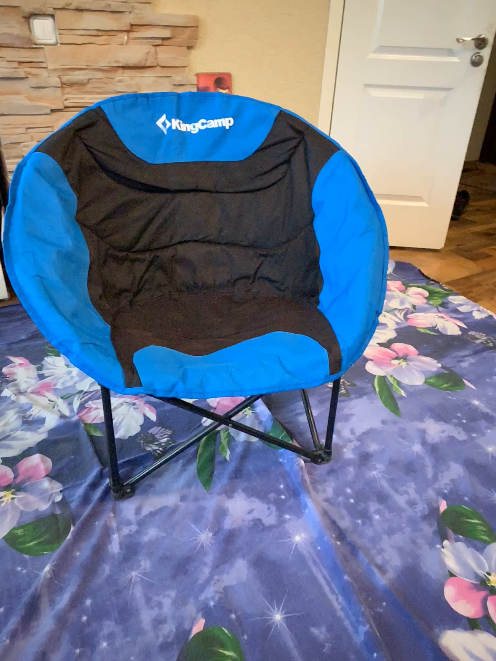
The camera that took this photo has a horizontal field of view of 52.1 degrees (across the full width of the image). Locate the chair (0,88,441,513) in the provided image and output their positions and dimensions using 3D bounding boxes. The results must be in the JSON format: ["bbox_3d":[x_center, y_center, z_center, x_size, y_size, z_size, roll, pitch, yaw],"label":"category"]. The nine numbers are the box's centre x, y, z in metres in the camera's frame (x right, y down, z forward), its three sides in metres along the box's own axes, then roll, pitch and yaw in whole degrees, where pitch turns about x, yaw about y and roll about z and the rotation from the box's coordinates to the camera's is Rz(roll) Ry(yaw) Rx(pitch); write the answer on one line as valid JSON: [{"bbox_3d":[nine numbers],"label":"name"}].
[{"bbox_3d":[-0.122,-0.129,1.230,0.760,0.772,0.613,-5,30,-12],"label":"chair"}]
